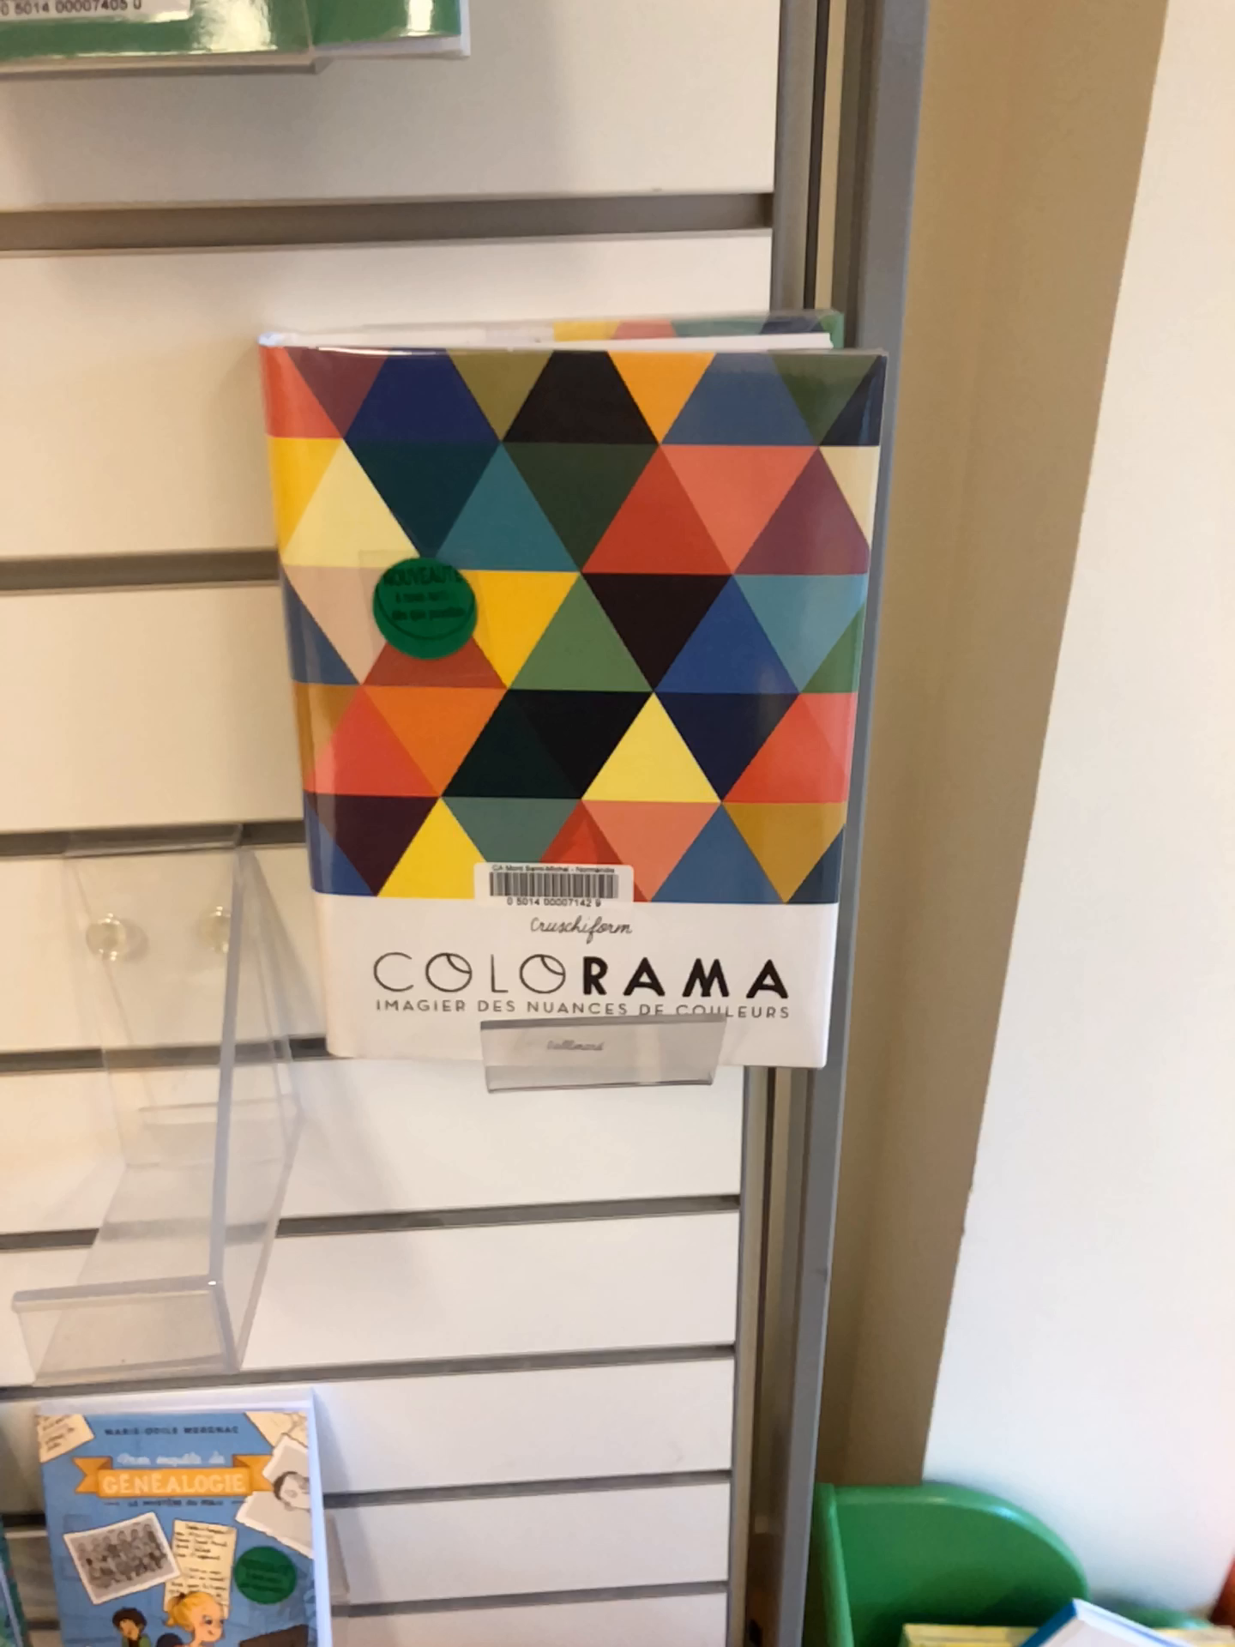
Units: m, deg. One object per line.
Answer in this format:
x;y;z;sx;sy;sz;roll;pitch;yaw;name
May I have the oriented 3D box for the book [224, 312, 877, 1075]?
-0.016;-0.033;0.424;0.170;0.231;0.046;1;25;2;book
